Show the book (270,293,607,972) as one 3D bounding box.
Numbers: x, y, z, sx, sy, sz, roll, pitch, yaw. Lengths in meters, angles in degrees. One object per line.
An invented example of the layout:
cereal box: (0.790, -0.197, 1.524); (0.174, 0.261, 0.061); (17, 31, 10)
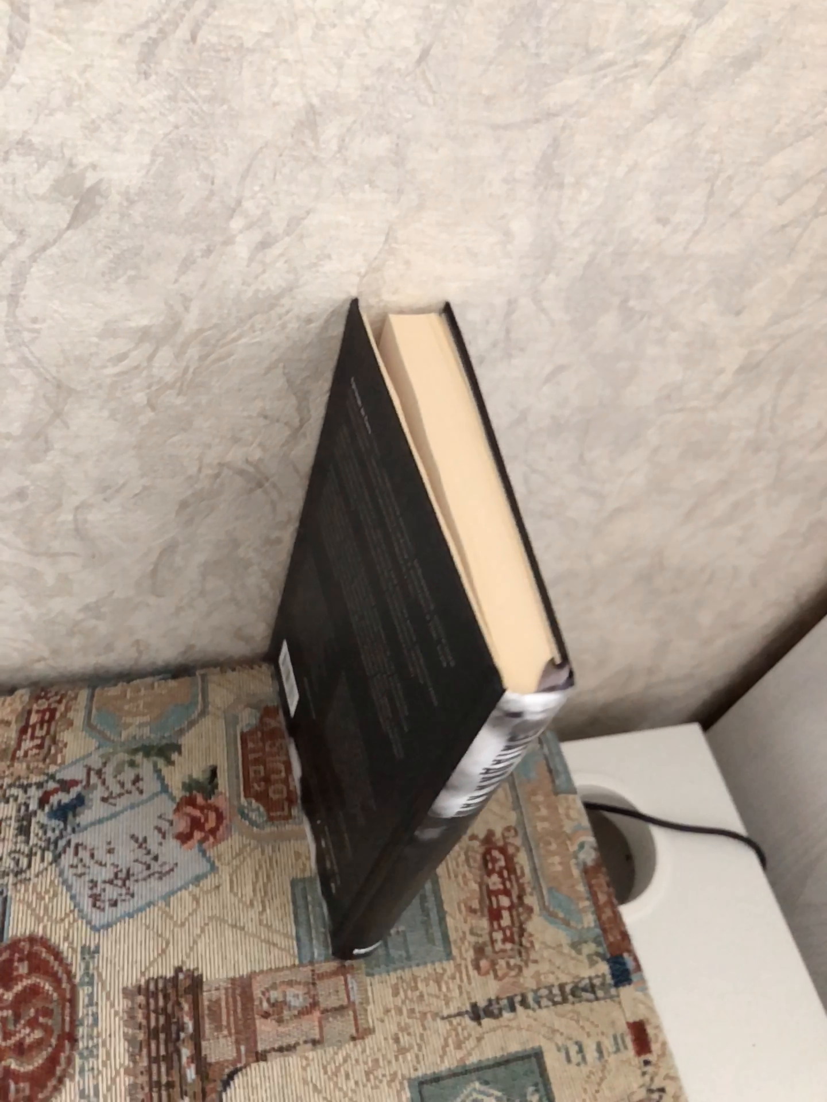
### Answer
book: (-0.012, 0.041, 0.306); (0.035, 0.200, 0.138); (-1, 54, -17)
